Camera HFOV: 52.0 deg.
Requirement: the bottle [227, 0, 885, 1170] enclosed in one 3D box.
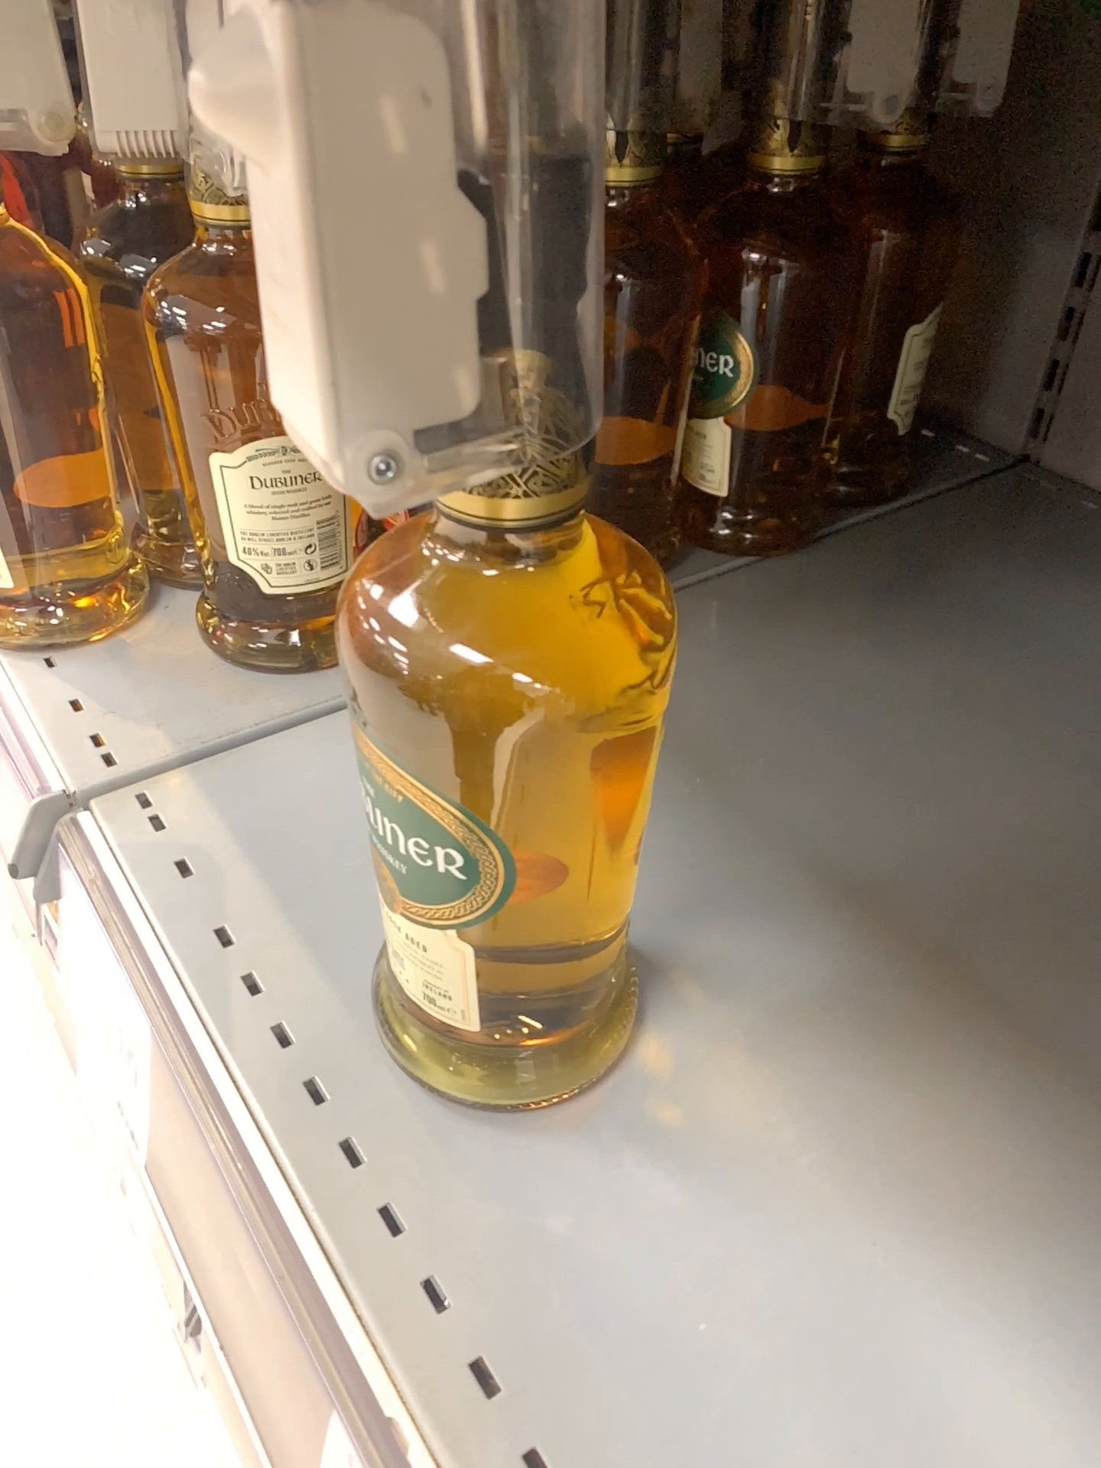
[{"bbox_3d":[-0.008,-0.022,0.290,0.090,0.283,0.089,1,37,-1],"label":"bottle"}]
